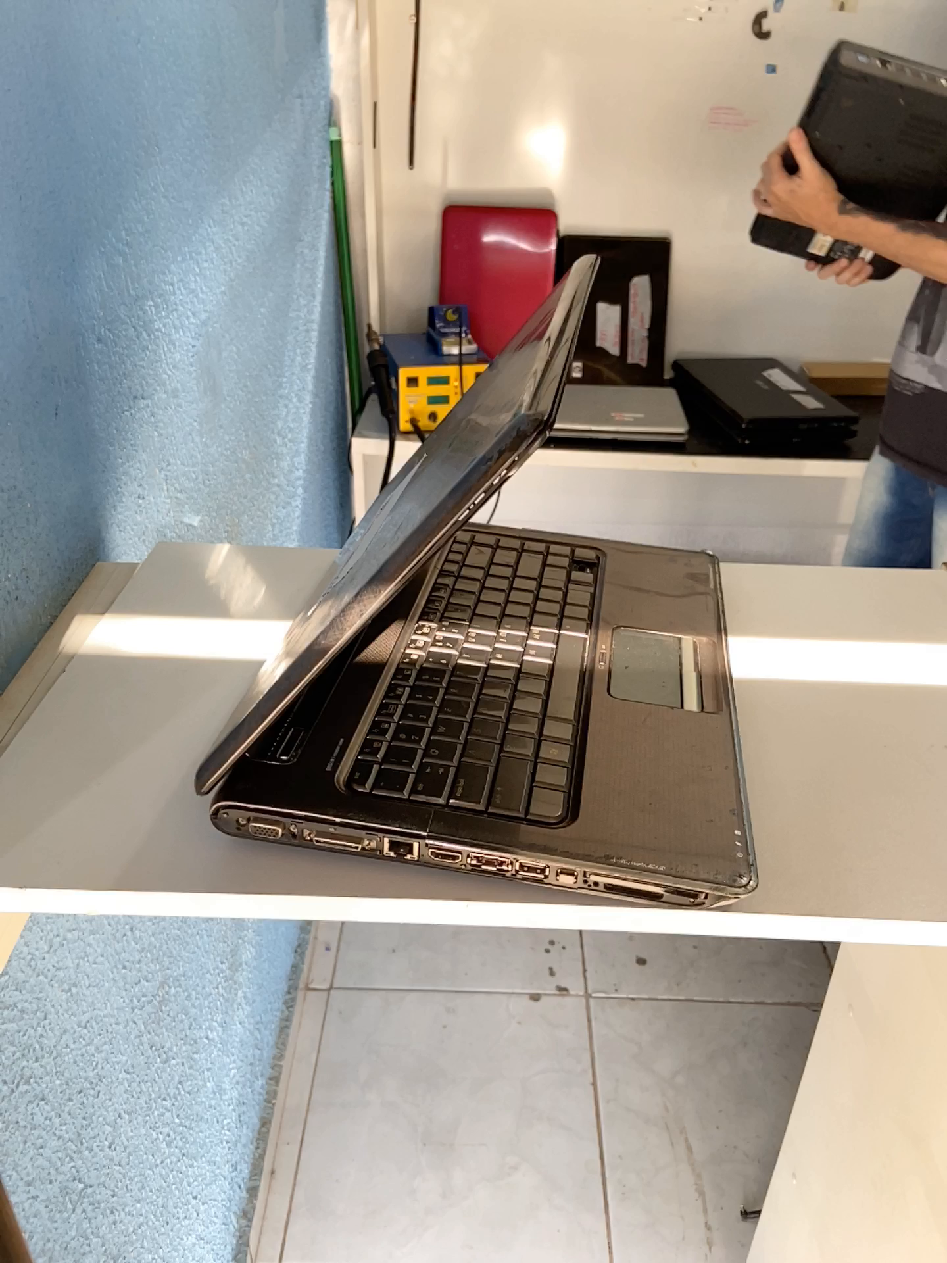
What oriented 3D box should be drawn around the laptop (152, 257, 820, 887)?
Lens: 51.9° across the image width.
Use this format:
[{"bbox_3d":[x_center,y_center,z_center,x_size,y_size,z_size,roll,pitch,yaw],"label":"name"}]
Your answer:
[{"bbox_3d":[0.029,-0.071,0.544,0.244,0.190,0.346,7,30,8],"label":"laptop"}]
